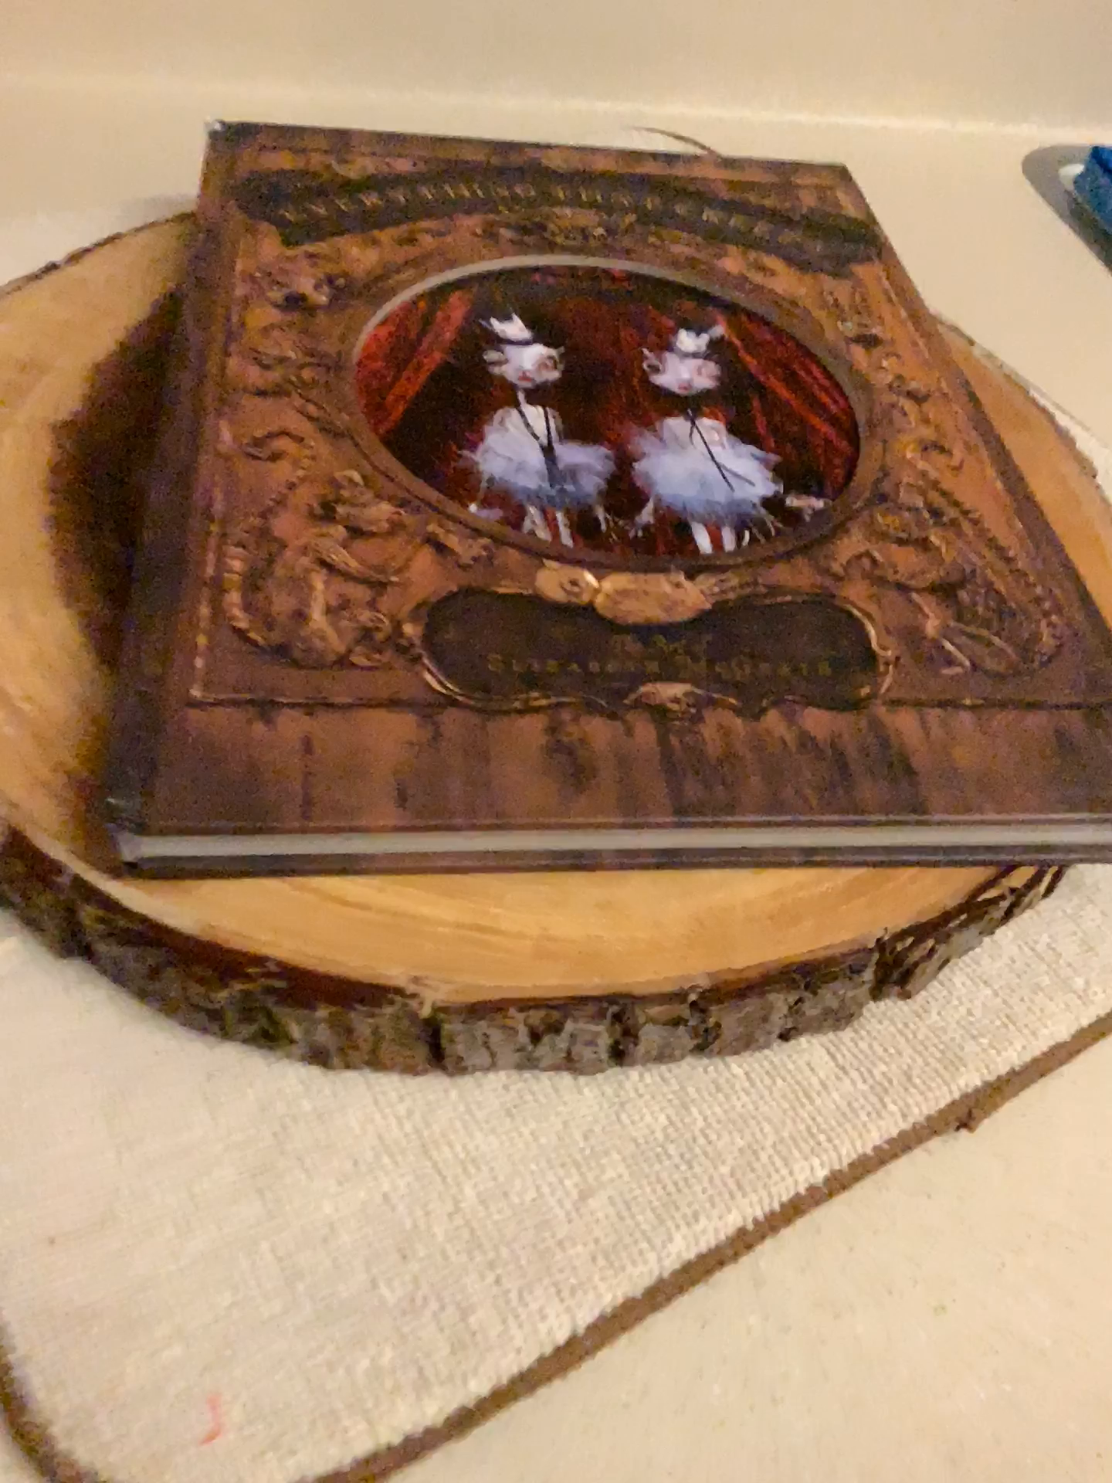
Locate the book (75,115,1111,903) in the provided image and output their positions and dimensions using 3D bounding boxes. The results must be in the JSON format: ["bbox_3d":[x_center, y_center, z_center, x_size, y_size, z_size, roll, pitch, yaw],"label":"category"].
[{"bbox_3d":[0.010,-0.093,0.347,0.230,0.020,0.310,0,48,-9],"label":"book"}]
